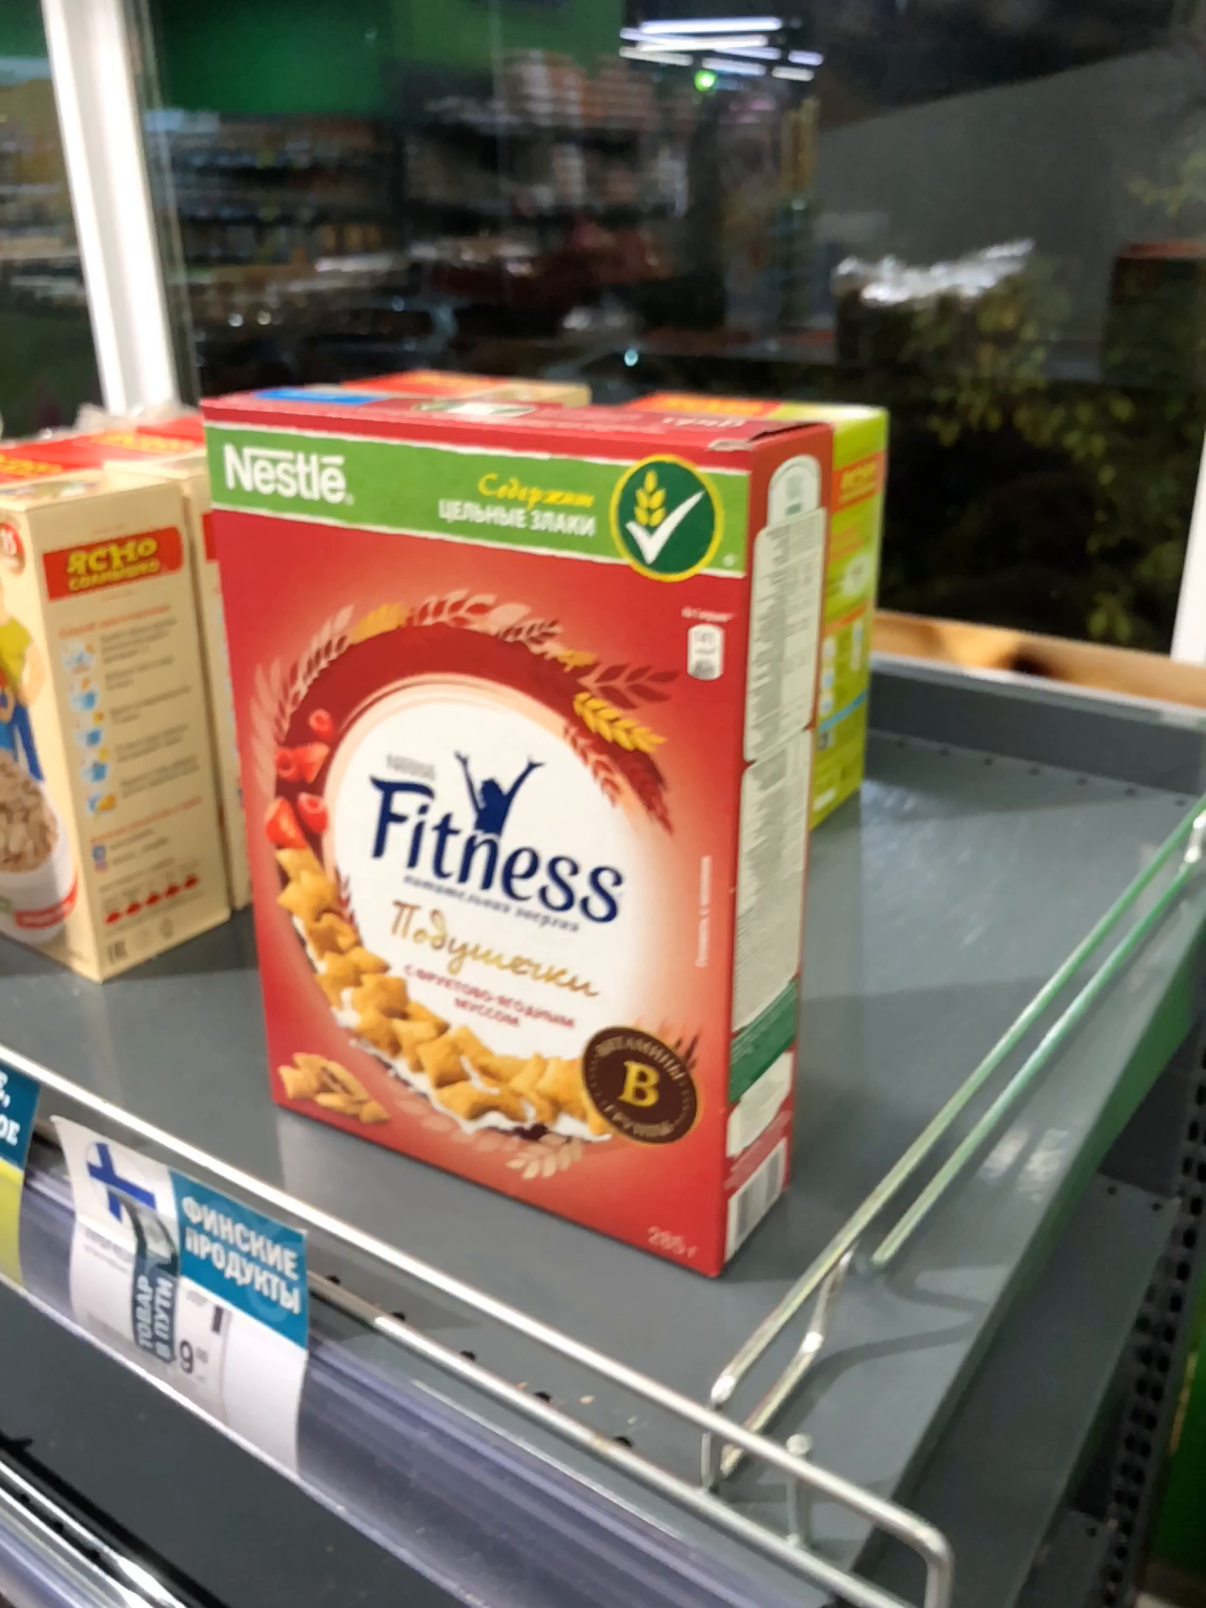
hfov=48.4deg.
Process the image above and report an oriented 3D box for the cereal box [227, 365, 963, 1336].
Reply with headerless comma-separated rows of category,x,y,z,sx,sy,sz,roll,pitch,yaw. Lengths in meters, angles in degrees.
cereal box,-0.009,0.006,0.401,0.190,0.249,0.060,13,25,28
